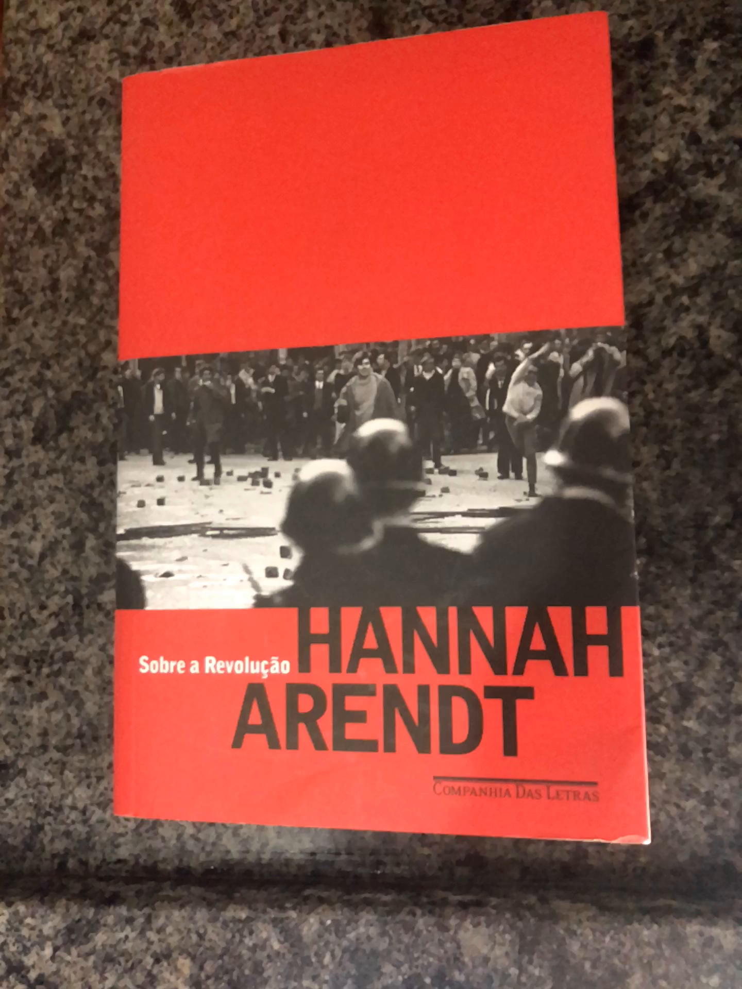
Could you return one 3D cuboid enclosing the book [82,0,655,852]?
[{"bbox_3d":[-0.004,-0.019,0.231,0.145,0.030,0.210,-2,84,12],"label":"book"}]
